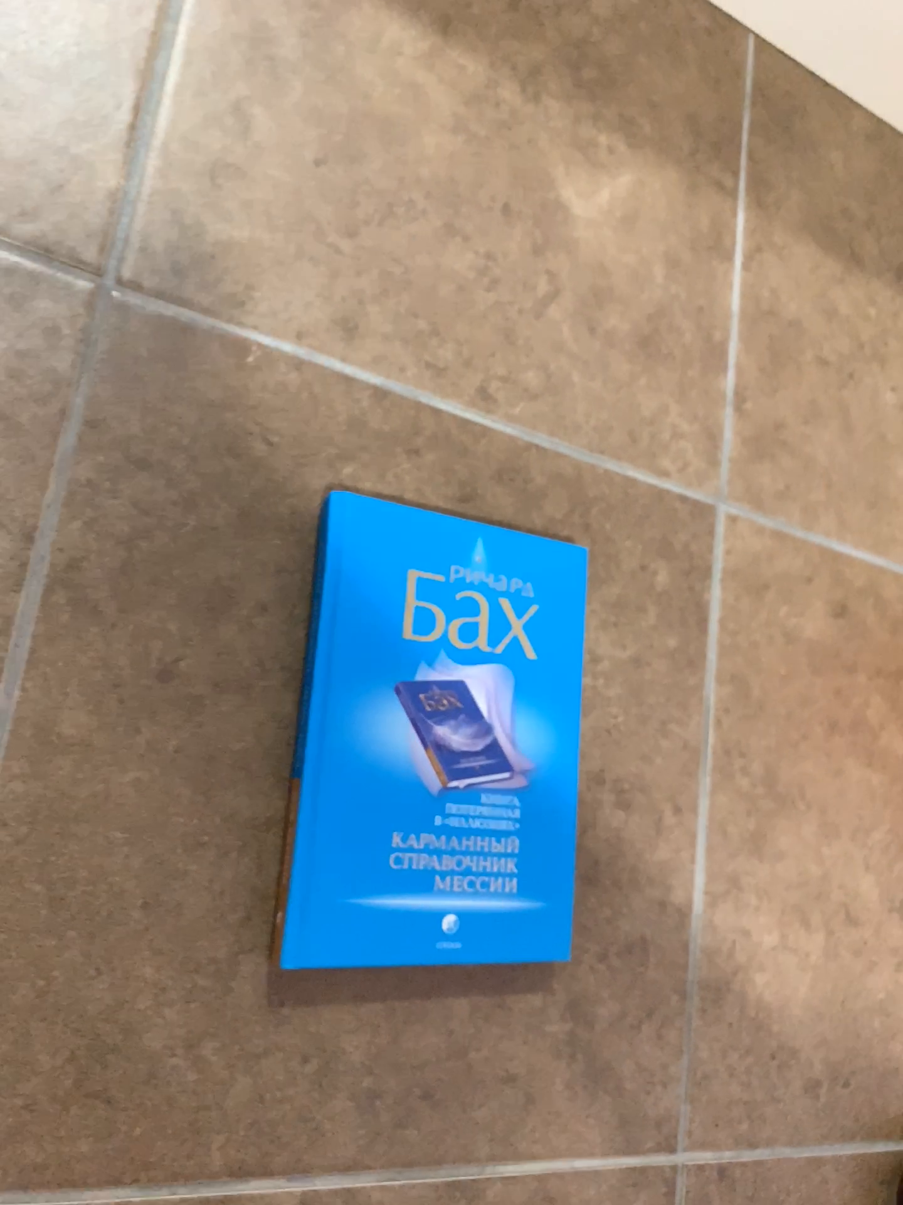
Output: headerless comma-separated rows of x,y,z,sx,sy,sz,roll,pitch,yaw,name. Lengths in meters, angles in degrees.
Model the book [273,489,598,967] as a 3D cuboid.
0.001,0.051,0.366,0.122,0.015,0.169,11,76,-27,book
